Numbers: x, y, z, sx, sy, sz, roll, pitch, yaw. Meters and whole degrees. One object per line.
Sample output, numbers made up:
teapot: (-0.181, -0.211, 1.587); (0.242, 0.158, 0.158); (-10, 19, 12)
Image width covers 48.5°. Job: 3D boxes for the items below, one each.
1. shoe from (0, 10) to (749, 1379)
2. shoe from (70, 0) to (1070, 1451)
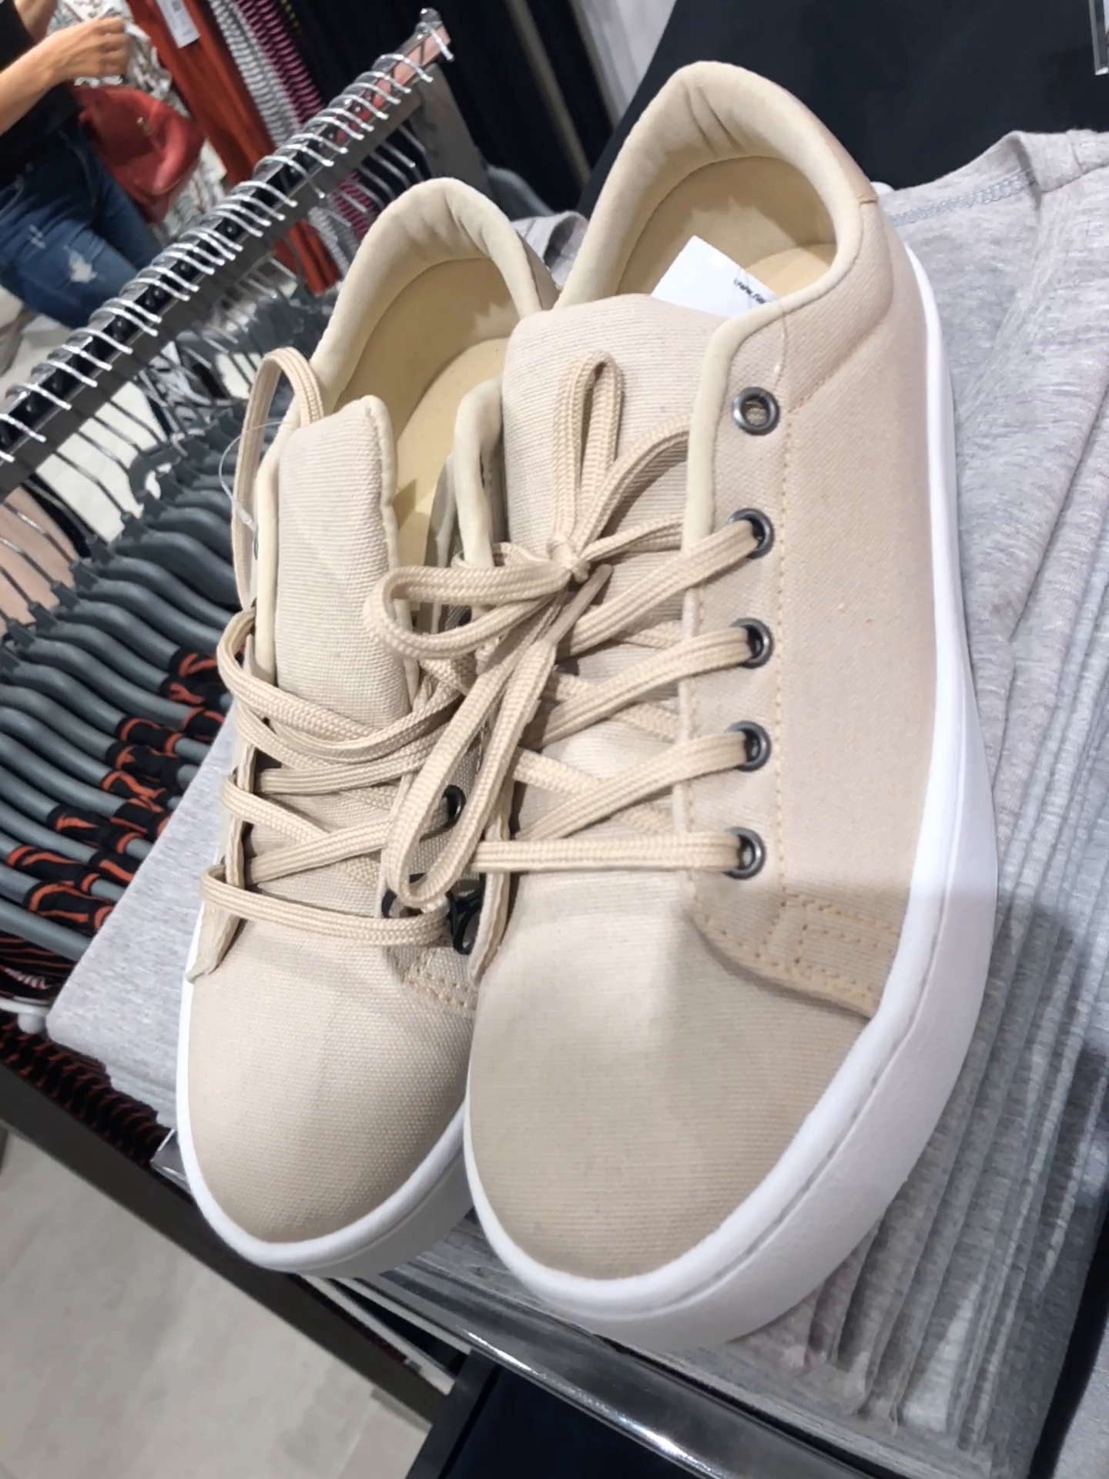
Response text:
shoe: (-0.037, -0.019, 0.289); (0.100, 0.109, 0.281); (6, 67, 21)
shoe: (0.040, -0.032, 0.268); (0.110, 0.109, 0.291); (-1, 52, 29)
